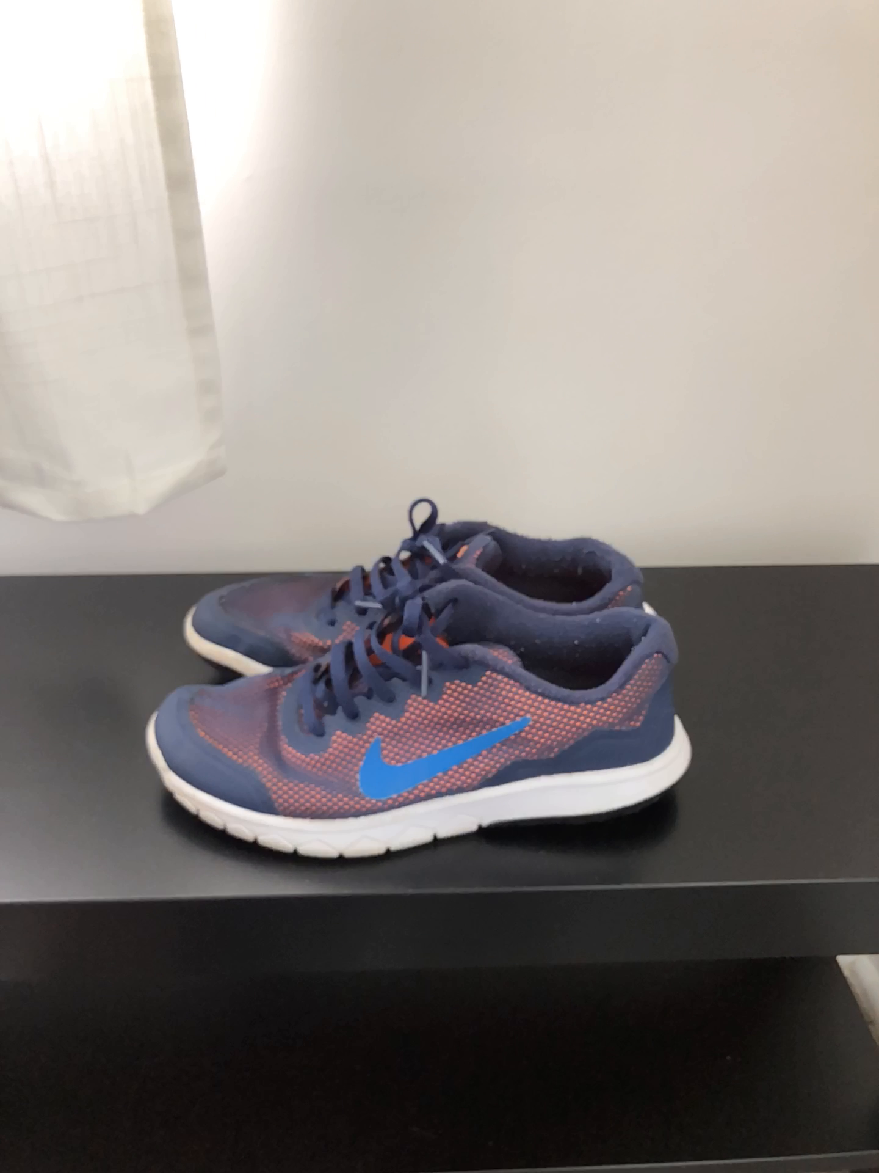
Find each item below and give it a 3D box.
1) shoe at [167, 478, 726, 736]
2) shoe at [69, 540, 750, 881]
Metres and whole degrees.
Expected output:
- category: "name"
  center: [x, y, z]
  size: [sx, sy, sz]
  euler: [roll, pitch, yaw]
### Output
- category: "shoe"
  center: [0.003, 0.008, 0.523]
  size: [0.260, 0.089, 0.100]
  euler: [2, 31, 1]
- category: "shoe"
  center: [-0.014, 0.050, 0.449]
  size: [0.260, 0.089, 0.121]
  euler: [-2, 31, -5]
